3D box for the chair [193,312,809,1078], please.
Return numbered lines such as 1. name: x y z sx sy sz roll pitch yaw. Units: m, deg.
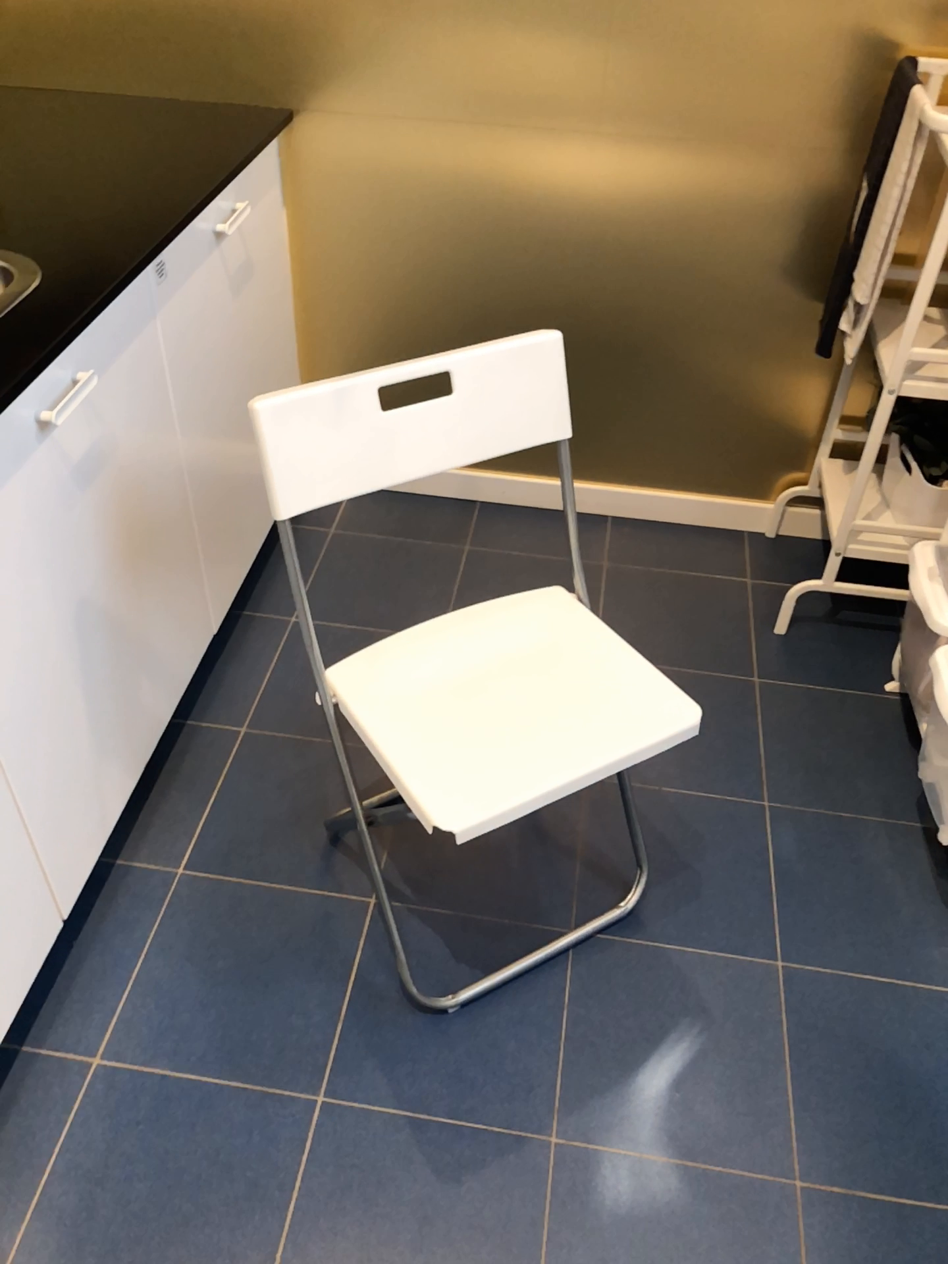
1. chair: -0.001 0.082 1.415 0.491 0.775 0.523 -20 46 -23
